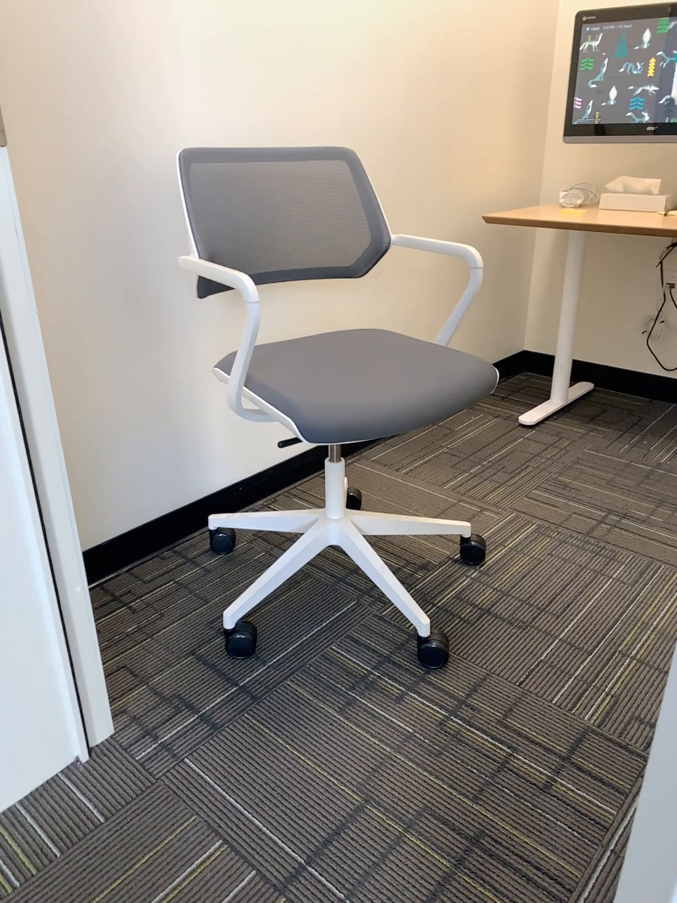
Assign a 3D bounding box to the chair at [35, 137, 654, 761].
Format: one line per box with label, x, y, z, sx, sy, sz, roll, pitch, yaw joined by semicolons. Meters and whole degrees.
chair;0.007;-0.154;1.453;0.801;0.915;0.803;-22;32;-39
